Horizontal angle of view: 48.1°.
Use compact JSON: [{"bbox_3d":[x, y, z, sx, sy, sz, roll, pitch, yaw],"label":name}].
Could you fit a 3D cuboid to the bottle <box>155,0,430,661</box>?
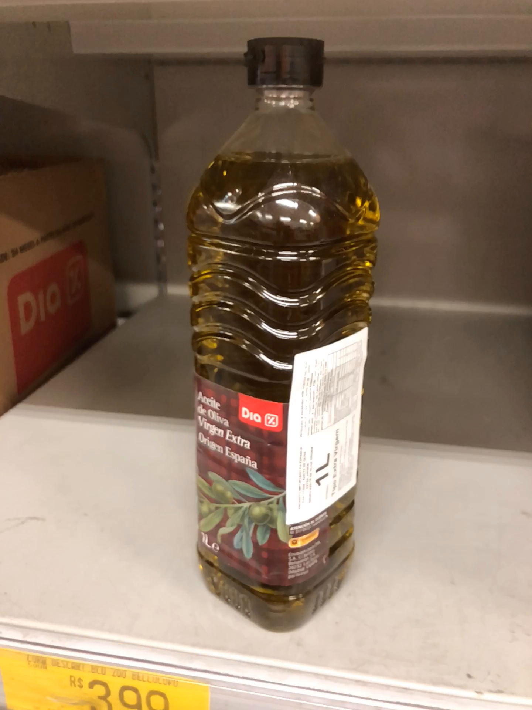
[{"bbox_3d":[0.007,-0.002,0.282,0.080,0.278,0.070,18,28,34],"label":"bottle"}]
